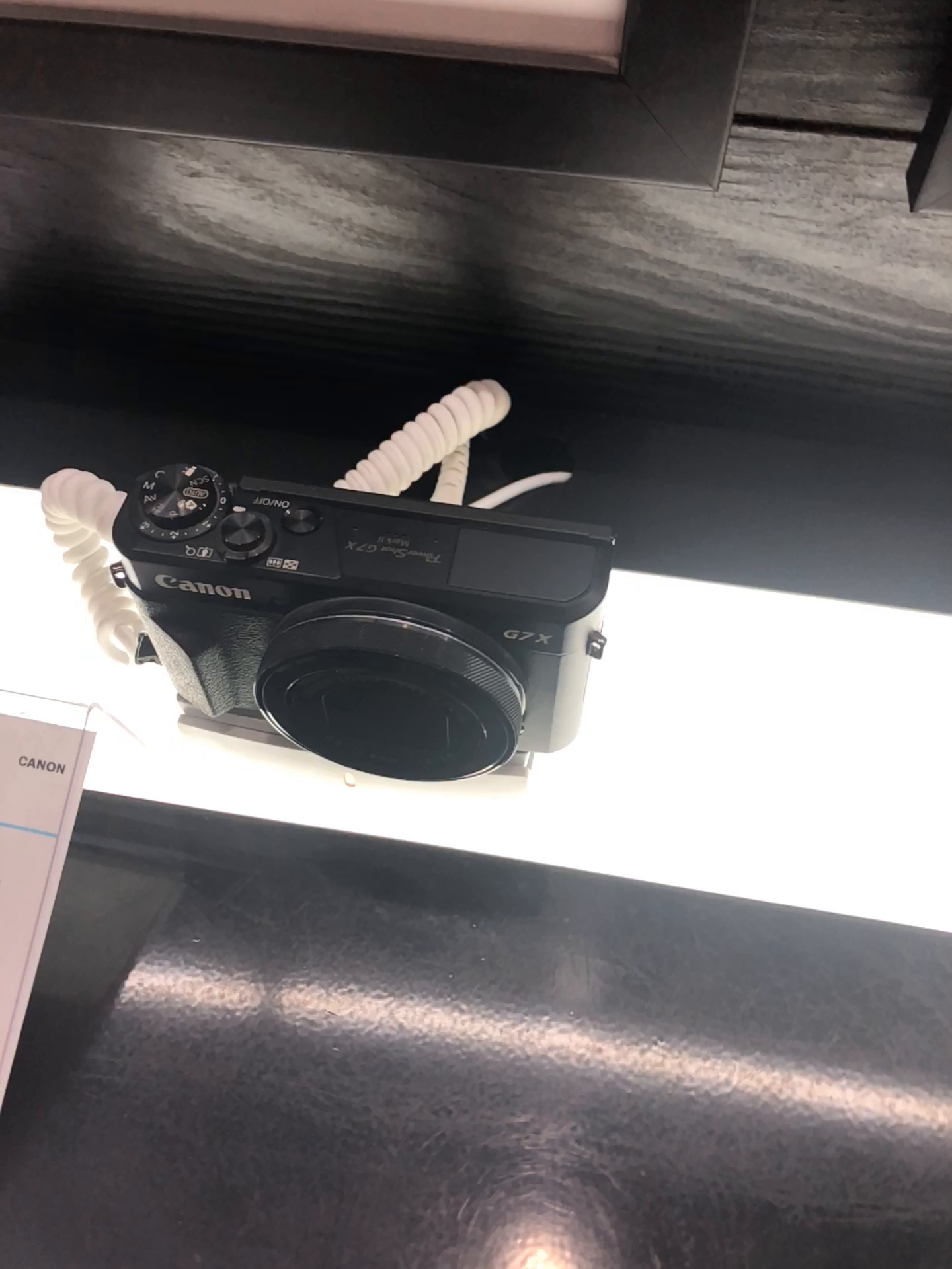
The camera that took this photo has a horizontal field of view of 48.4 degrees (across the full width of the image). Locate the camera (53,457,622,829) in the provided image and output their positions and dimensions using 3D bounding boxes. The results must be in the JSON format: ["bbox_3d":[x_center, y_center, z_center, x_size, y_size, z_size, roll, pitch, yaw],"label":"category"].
[{"bbox_3d":[-0.025,0.003,0.221,0.100,0.056,0.038,9,54,6],"label":"camera"}]
